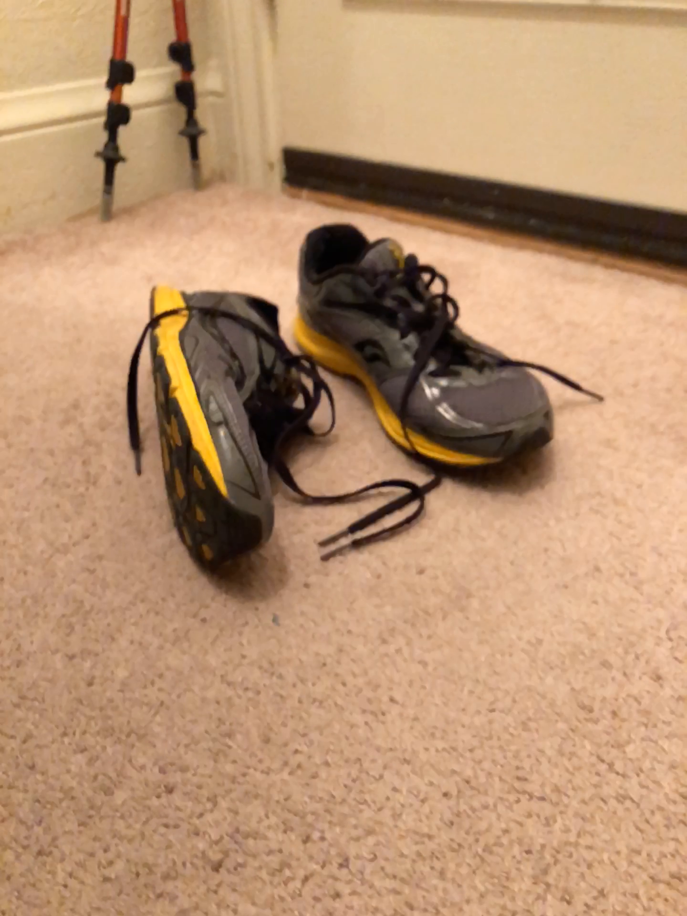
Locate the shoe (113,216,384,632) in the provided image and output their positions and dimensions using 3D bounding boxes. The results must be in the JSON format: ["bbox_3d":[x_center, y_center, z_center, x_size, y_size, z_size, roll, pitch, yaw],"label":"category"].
[{"bbox_3d":[-0.075,-0.048,0.498,0.109,0.117,0.295,-12,36,-11],"label":"shoe"}]

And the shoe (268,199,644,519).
[{"bbox_3d":[0.057,-0.092,0.551,0.118,0.098,0.284,-17,37,-21],"label":"shoe"}]
